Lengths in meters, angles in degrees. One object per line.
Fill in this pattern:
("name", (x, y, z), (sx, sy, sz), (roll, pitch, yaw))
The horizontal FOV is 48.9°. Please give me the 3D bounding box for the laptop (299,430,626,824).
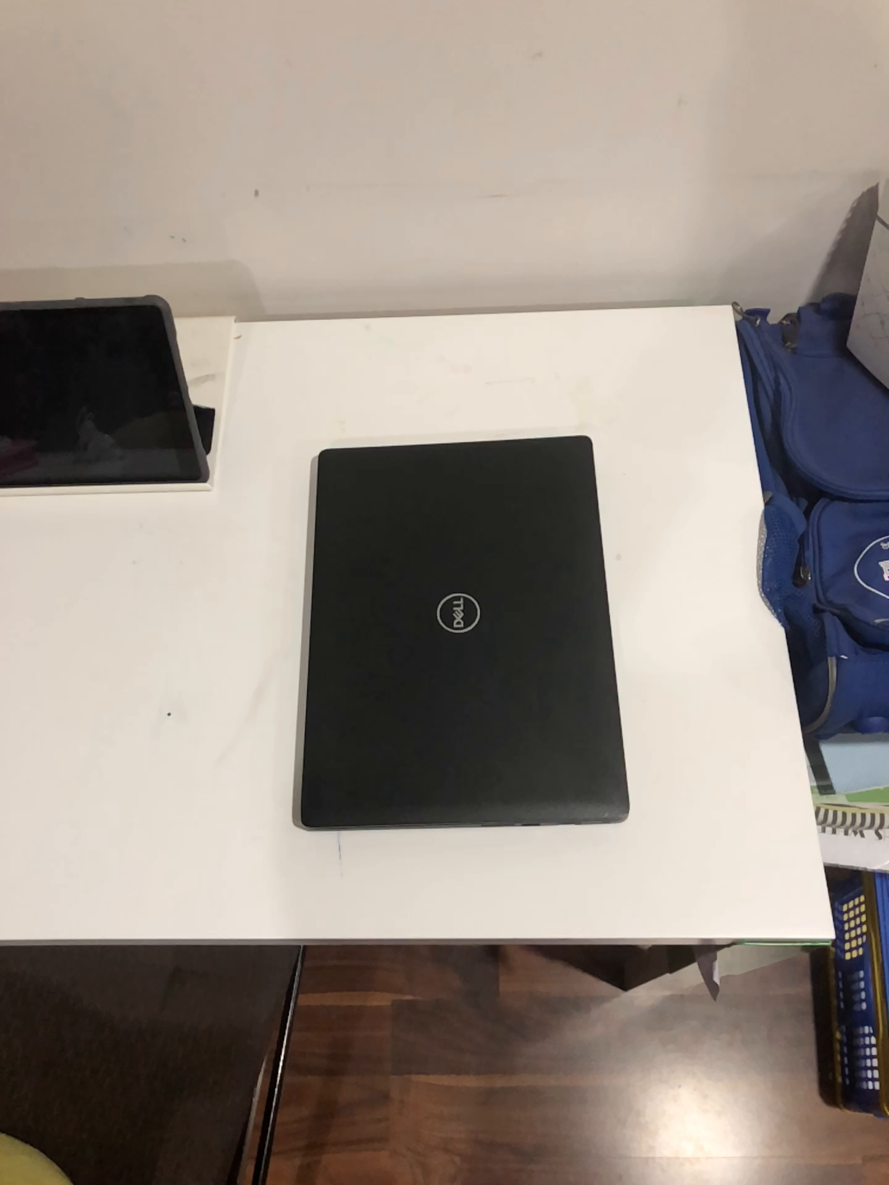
("laptop", (0.009, 0.017, 0.792), (0.241, 0.010, 0.333), (-3, 64, 5))
